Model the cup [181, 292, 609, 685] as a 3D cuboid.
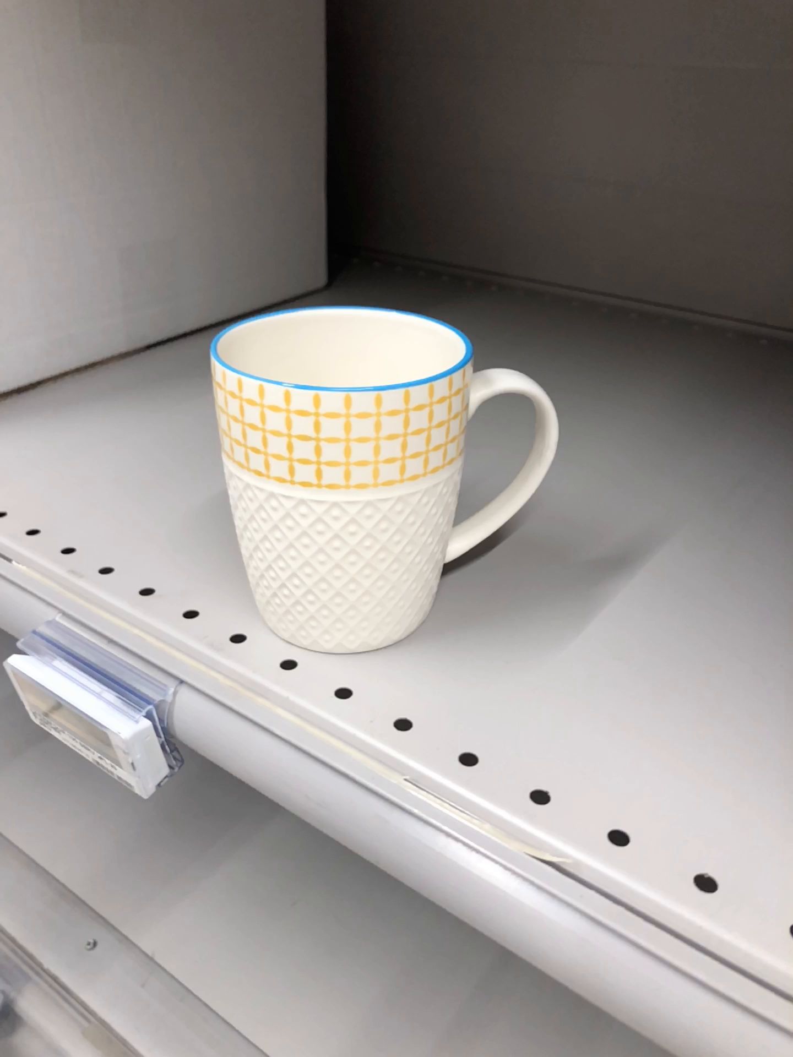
[{"bbox_3d":[-0.007,-0.023,0.313,0.118,0.092,0.106,-9,27,-15],"label":"cup"}]
